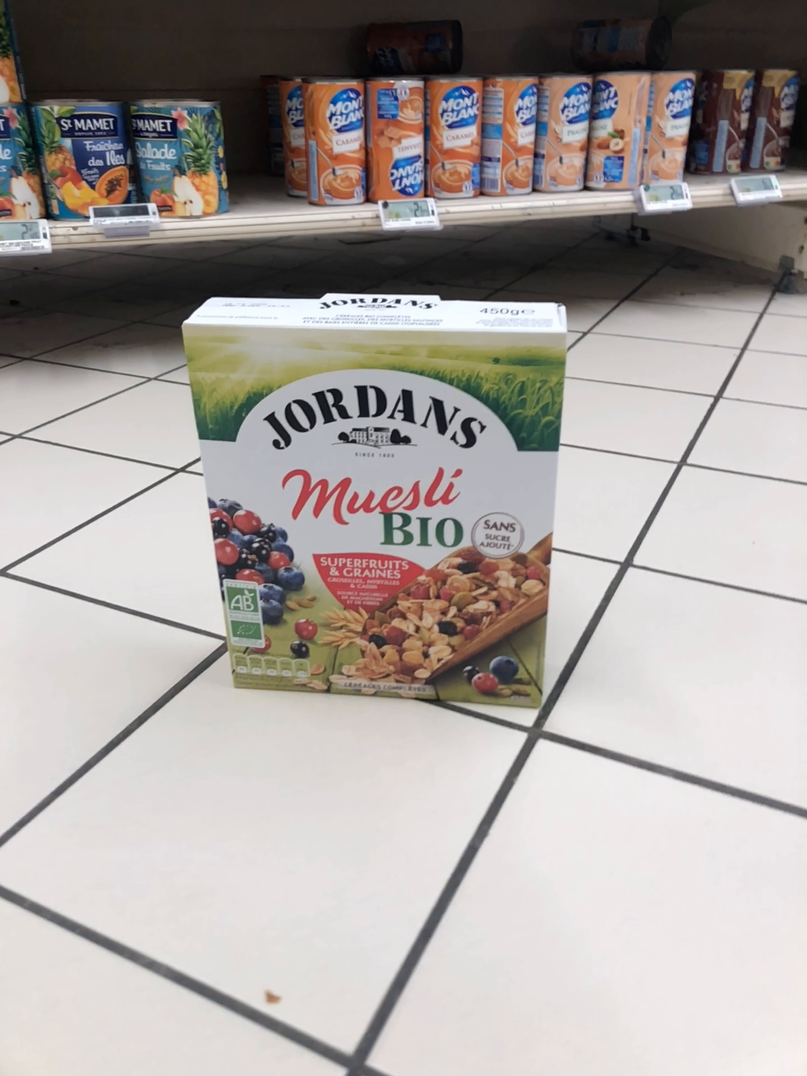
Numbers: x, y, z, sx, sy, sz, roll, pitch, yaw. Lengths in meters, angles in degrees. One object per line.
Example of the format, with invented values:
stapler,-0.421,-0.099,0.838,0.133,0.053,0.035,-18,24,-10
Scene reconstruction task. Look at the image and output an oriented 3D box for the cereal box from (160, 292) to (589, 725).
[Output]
cereal box,-0.010,-0.011,0.469,0.190,0.219,0.060,3,30,6
